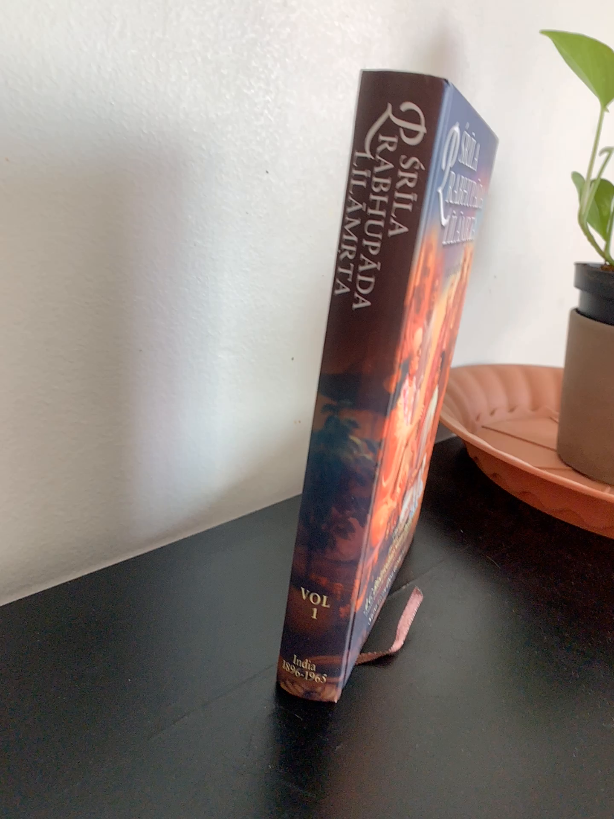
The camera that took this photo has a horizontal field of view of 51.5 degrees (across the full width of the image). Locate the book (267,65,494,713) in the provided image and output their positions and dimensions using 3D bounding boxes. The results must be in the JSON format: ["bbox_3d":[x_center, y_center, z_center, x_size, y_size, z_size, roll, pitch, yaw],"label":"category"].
[{"bbox_3d":[0.040,-0.012,0.298,0.030,0.233,0.162,13,19,18],"label":"book"}]
